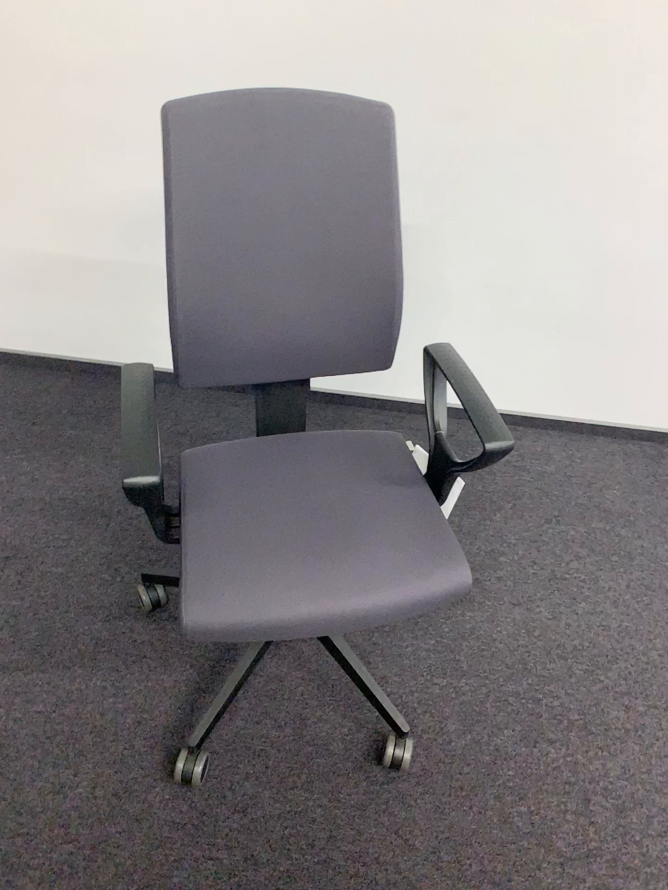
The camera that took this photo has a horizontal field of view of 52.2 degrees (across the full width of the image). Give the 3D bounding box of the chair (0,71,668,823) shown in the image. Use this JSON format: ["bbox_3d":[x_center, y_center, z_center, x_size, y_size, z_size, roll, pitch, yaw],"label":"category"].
[{"bbox_3d":[-0.056,0.004,1.242,0.701,1.035,0.783,-4,42,-12],"label":"chair"}]
